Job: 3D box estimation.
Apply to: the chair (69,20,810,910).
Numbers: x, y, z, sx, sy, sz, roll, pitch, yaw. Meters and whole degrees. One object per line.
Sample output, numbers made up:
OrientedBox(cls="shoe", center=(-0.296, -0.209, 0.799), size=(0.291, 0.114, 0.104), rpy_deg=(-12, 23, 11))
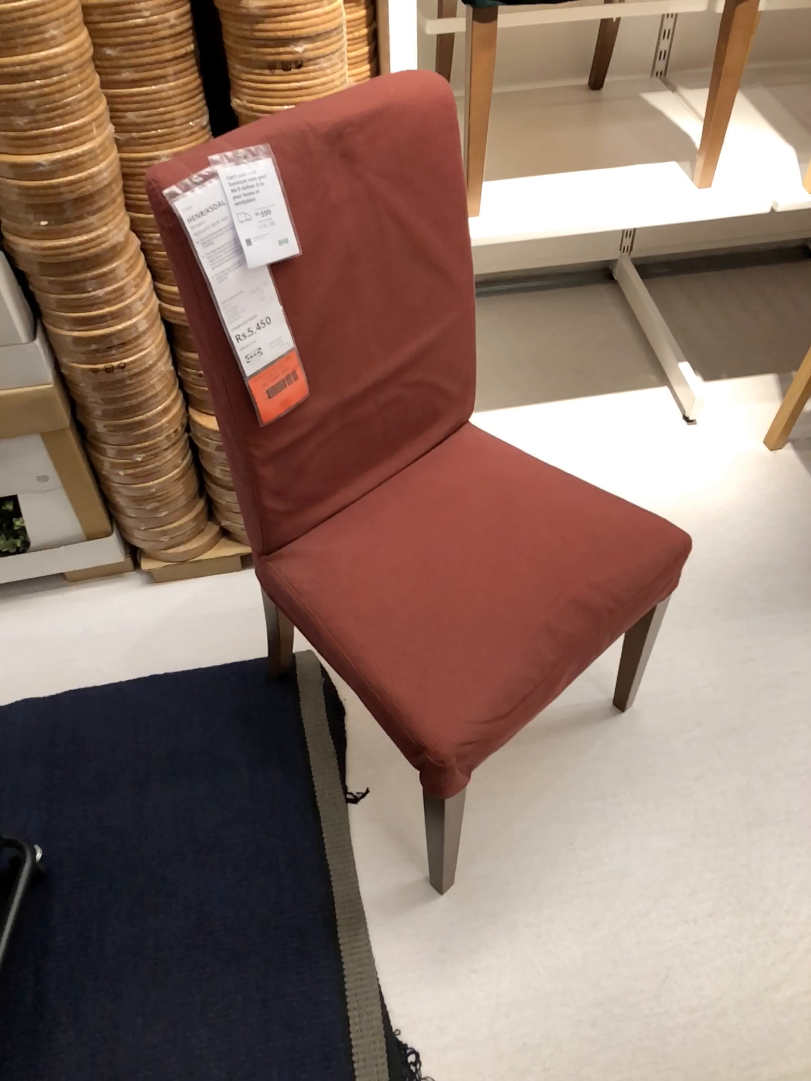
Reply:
OrientedBox(cls="chair", center=(0.046, -0.043, 1.230), size=(0.522, 0.994, 0.532), rpy_deg=(-36, 57, -27))
